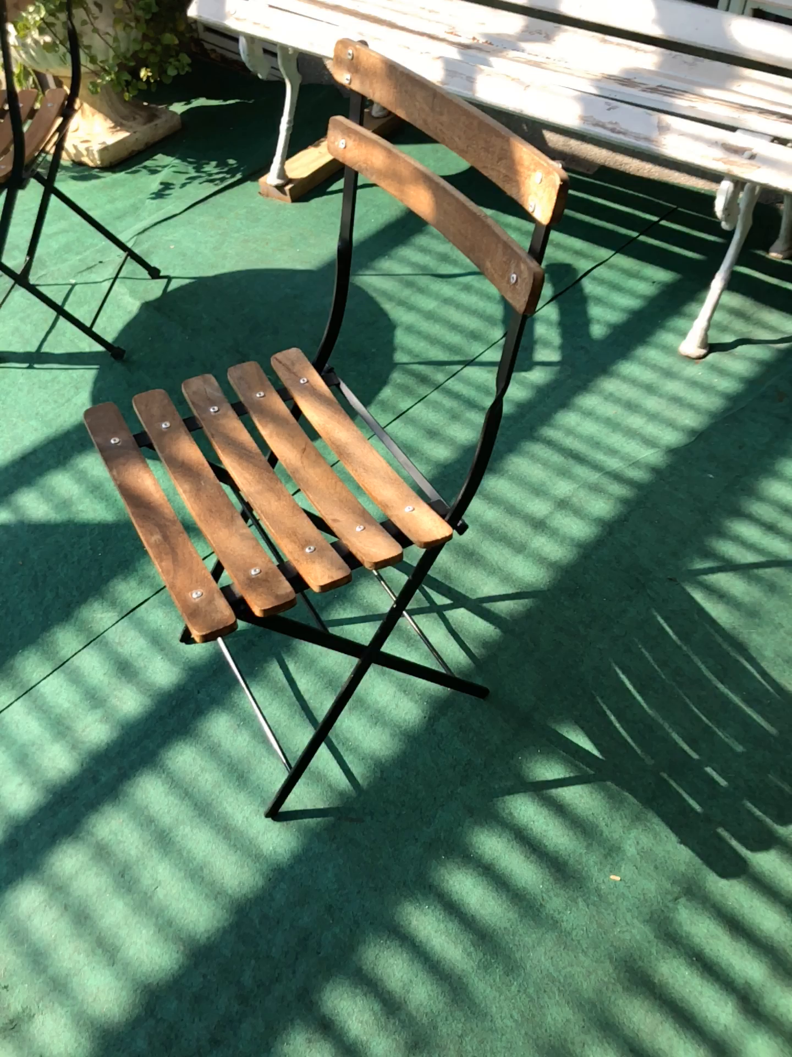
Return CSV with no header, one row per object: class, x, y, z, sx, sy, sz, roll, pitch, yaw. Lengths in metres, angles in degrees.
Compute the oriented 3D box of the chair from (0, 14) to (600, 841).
chair,-0.114,-0.076,0.900,0.401,0.655,0.392,-24,51,-18
